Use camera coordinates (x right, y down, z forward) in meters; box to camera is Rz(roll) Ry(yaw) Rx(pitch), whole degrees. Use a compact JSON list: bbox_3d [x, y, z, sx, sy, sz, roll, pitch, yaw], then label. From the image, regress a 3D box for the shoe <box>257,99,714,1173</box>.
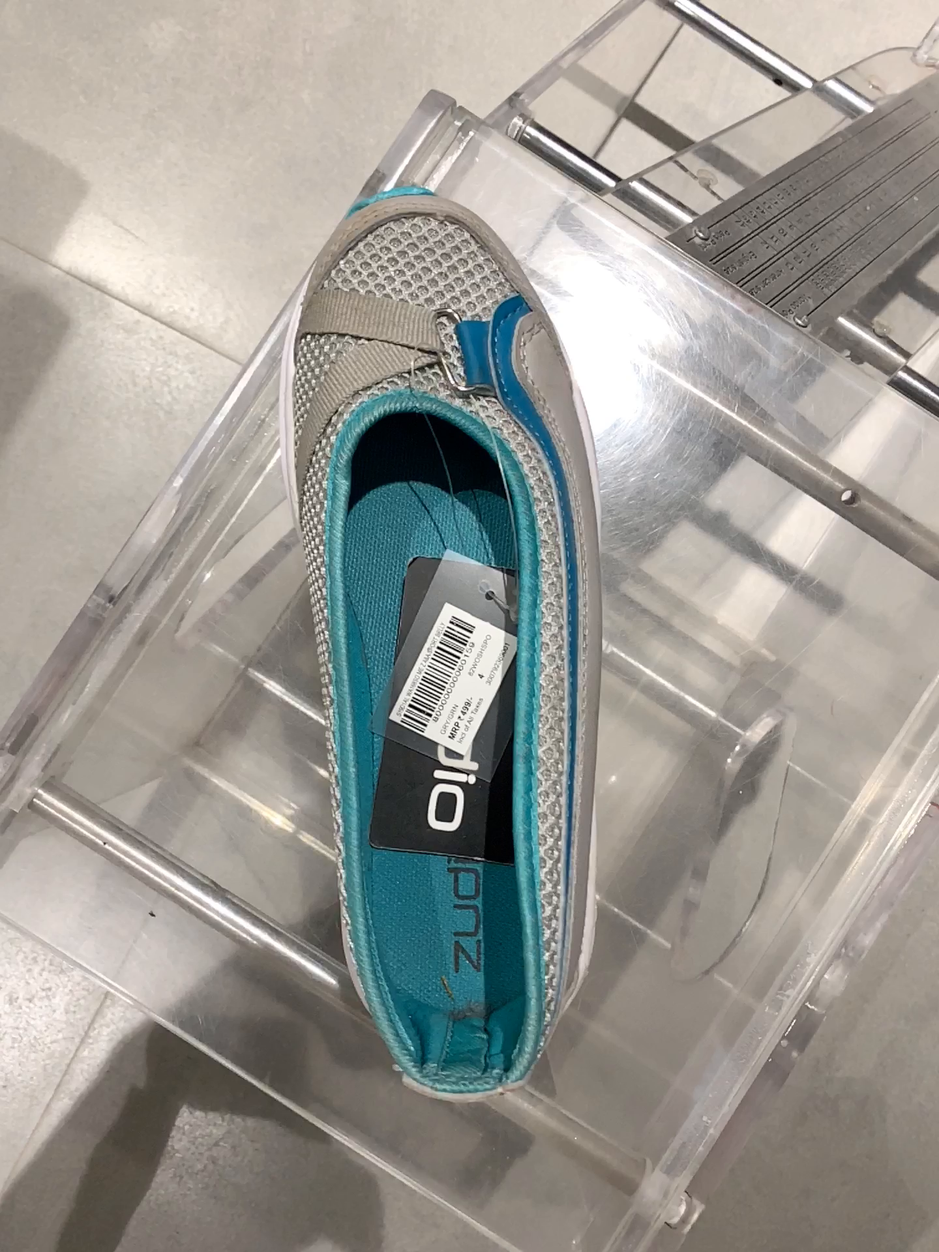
[{"bbox_3d":[0.003,0.002,0.290,0.090,0.080,0.270,-6,90,-2],"label":"shoe"}]
